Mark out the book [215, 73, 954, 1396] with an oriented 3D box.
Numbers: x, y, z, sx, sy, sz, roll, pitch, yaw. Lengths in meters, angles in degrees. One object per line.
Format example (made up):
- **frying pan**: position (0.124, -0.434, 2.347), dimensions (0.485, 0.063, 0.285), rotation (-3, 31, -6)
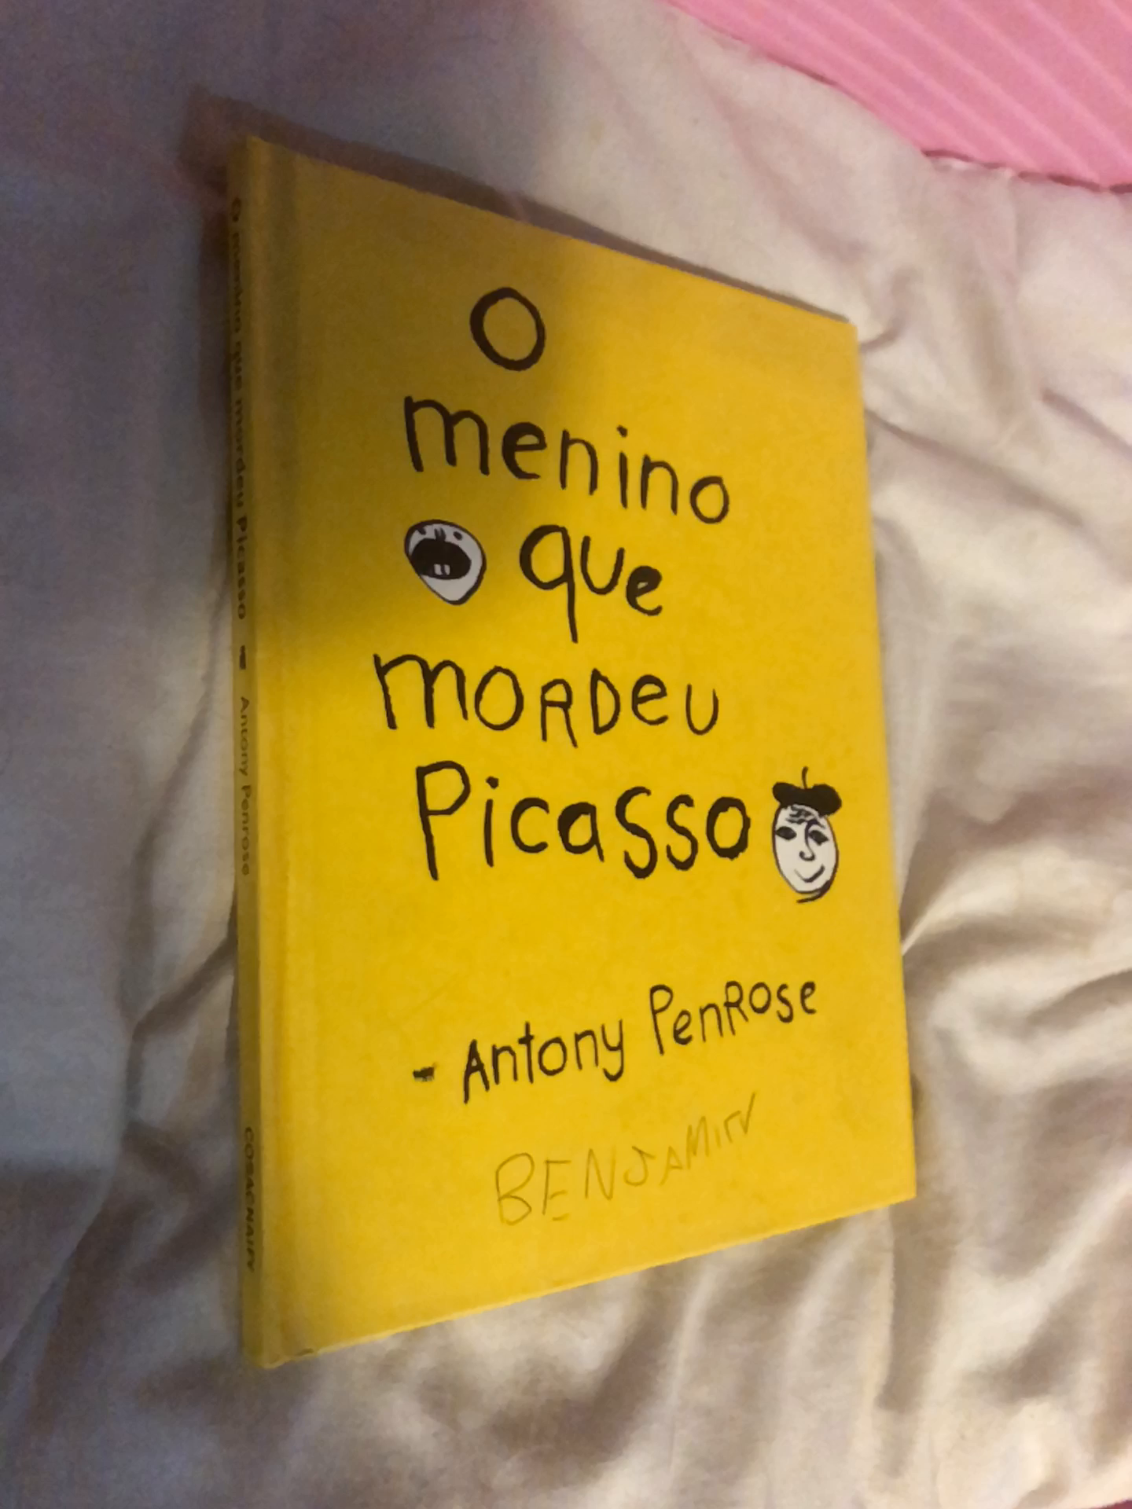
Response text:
- **book**: position (0.013, -0.006, 0.288), dimensions (0.181, 0.024, 0.240), rotation (2, 83, -34)
